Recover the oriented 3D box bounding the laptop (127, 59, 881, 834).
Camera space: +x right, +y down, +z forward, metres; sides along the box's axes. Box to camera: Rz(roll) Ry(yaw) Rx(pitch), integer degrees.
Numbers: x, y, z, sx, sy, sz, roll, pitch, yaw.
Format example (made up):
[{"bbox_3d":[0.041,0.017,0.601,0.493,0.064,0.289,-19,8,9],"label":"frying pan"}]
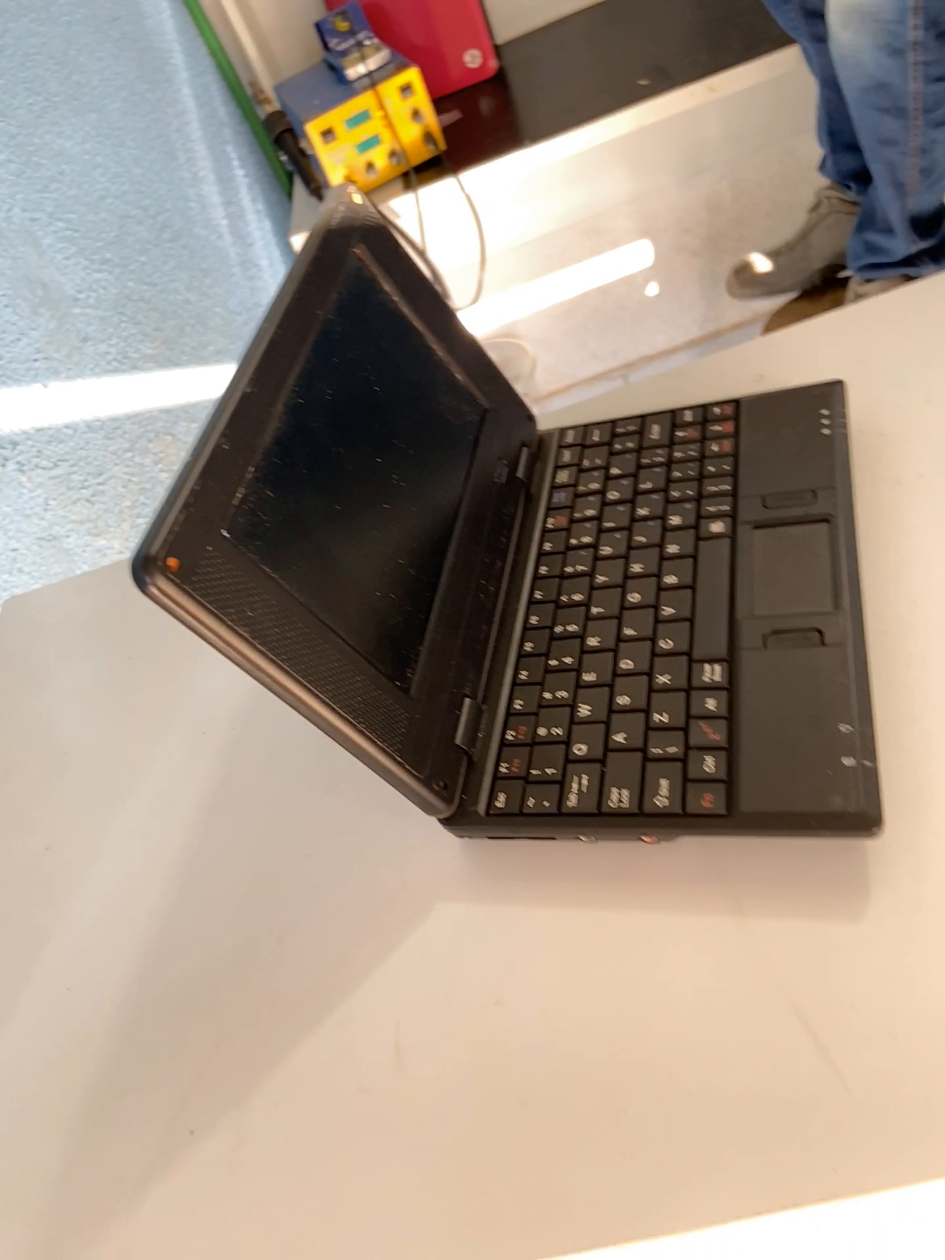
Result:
[{"bbox_3d":[0.035,-0.059,0.341,0.179,0.137,0.217,-5,48,22],"label":"laptop"}]
